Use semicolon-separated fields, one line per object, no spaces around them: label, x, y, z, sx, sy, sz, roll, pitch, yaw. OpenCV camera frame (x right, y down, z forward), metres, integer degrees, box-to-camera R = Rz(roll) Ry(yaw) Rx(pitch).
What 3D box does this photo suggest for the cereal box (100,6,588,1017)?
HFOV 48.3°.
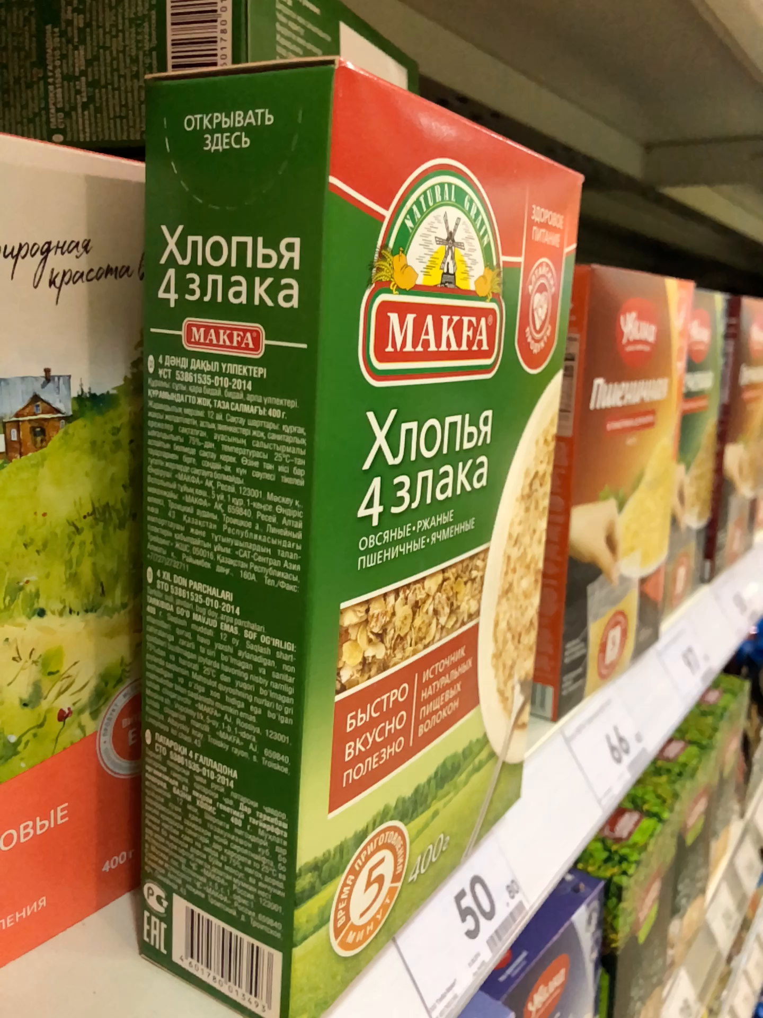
cereal box;-0.003;0.005;0.232;0.050;0.209;0.141;11;14;31
